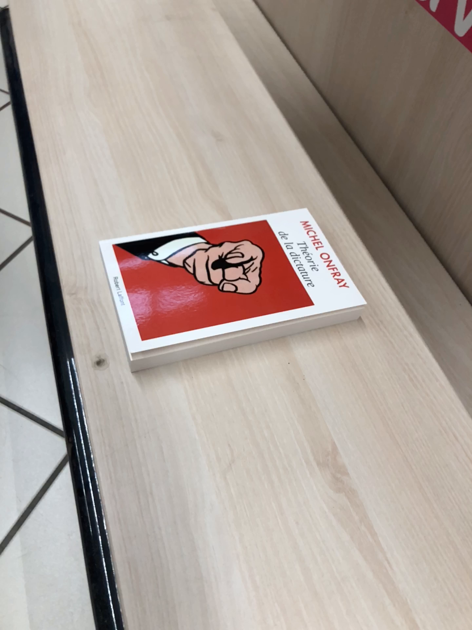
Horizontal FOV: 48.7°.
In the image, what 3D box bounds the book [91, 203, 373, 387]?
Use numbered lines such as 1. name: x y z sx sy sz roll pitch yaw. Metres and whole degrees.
1. book: -0.007 -0.027 0.451 0.207 0.029 0.139 -11 55 -17
